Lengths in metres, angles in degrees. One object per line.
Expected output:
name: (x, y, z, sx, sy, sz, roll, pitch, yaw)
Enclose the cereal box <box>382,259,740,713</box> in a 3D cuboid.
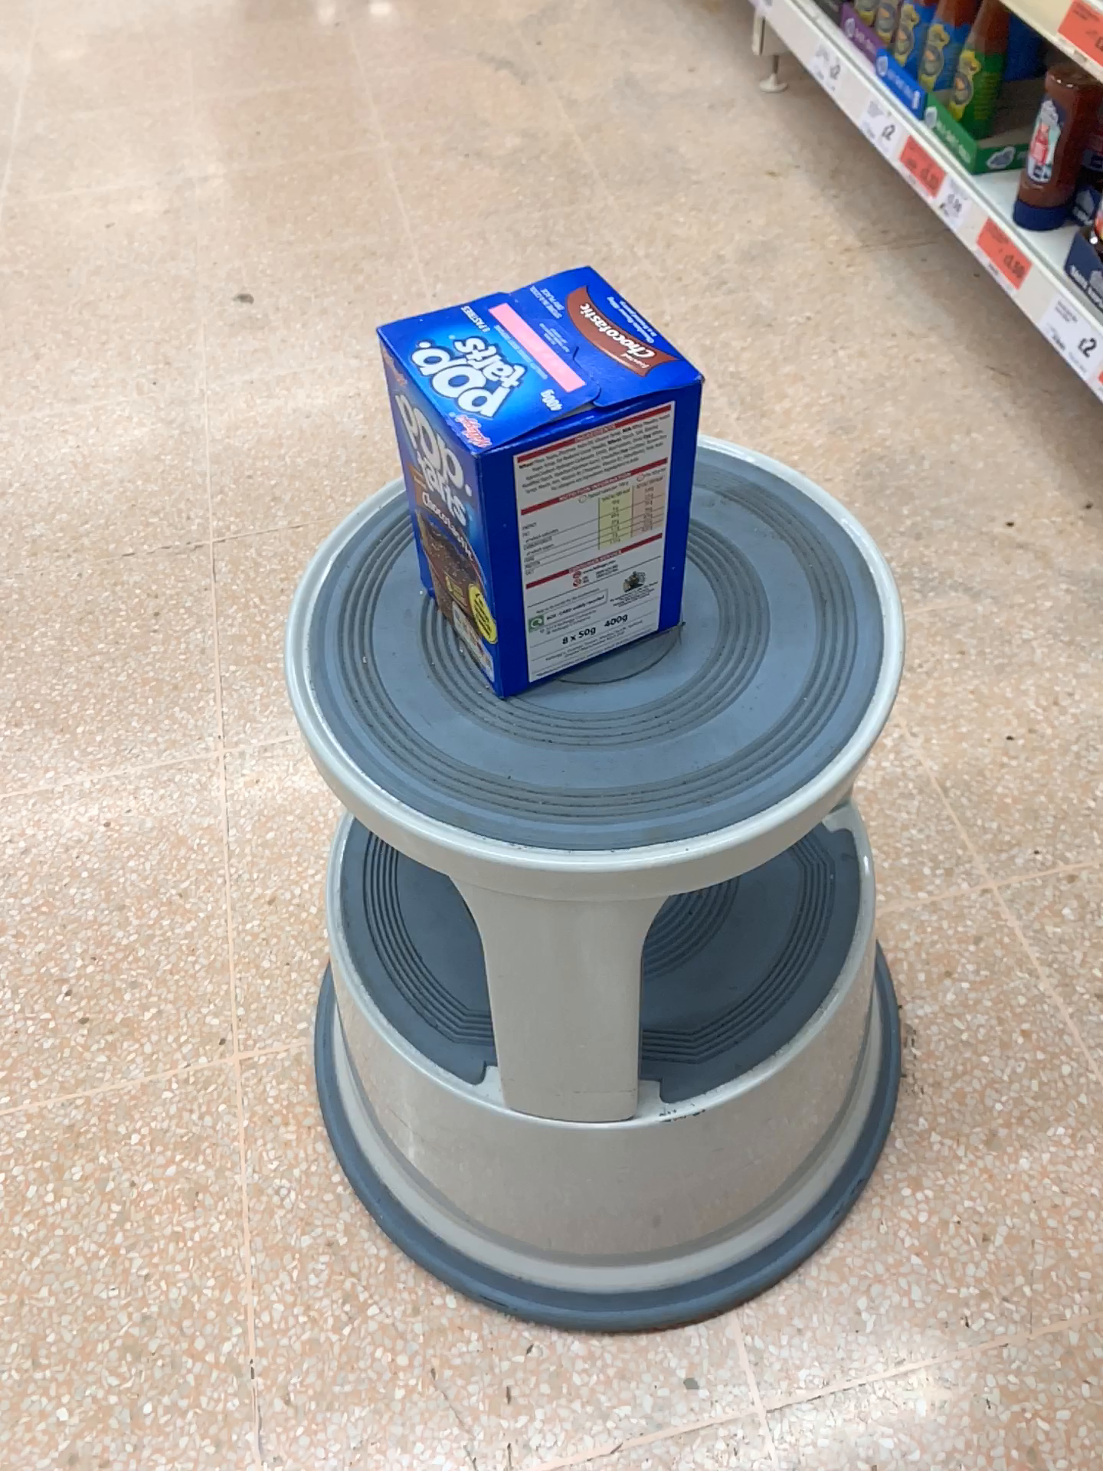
cereal box: (0.006, -0.109, 0.509, 0.110, 0.139, 0.101, -24, 54, -13)
